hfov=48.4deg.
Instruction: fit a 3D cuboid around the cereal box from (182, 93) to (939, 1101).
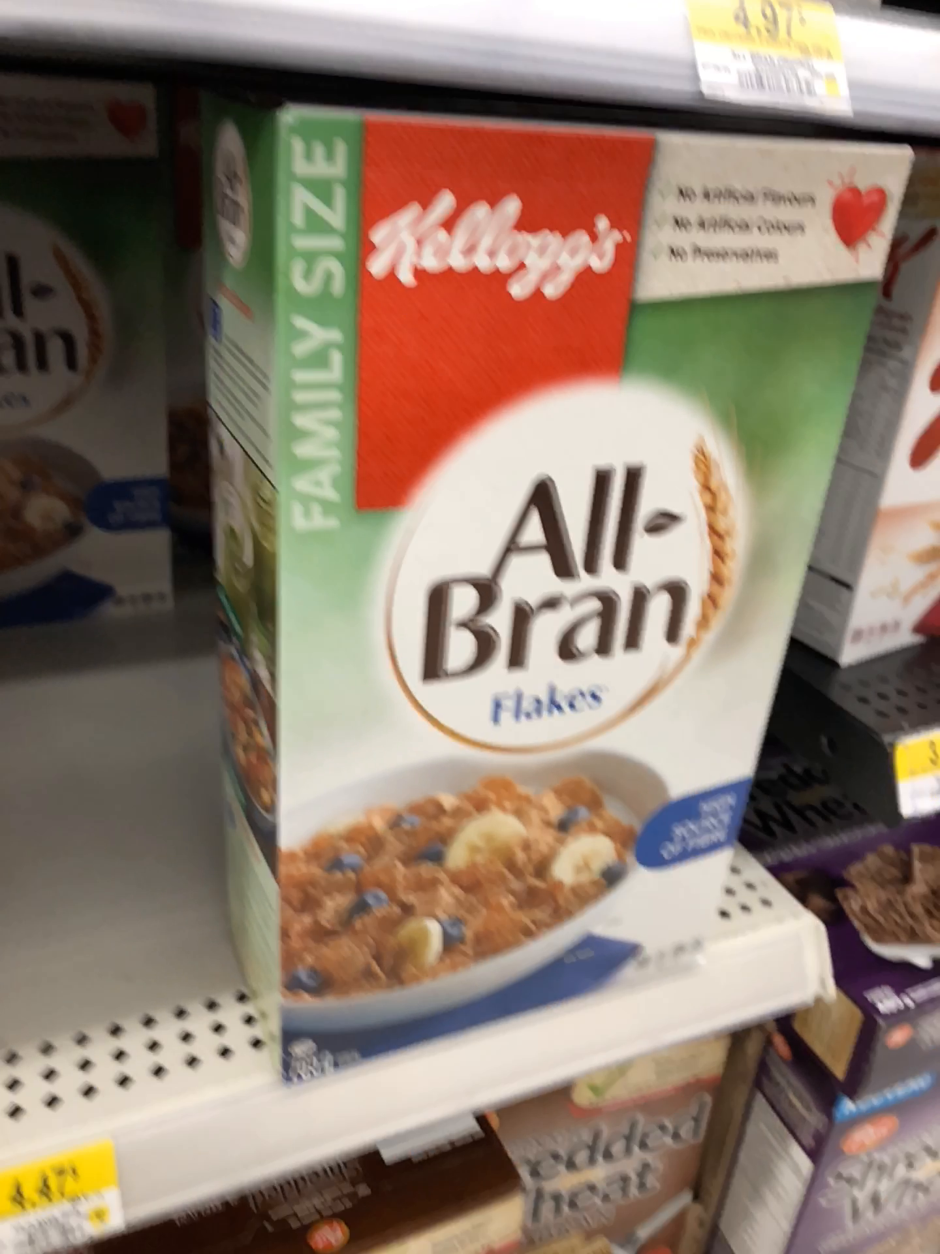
[{"bbox_3d":[0.018,-0.004,0.376,0.210,0.318,0.081,-8,29,-24],"label":"cereal box"}]
